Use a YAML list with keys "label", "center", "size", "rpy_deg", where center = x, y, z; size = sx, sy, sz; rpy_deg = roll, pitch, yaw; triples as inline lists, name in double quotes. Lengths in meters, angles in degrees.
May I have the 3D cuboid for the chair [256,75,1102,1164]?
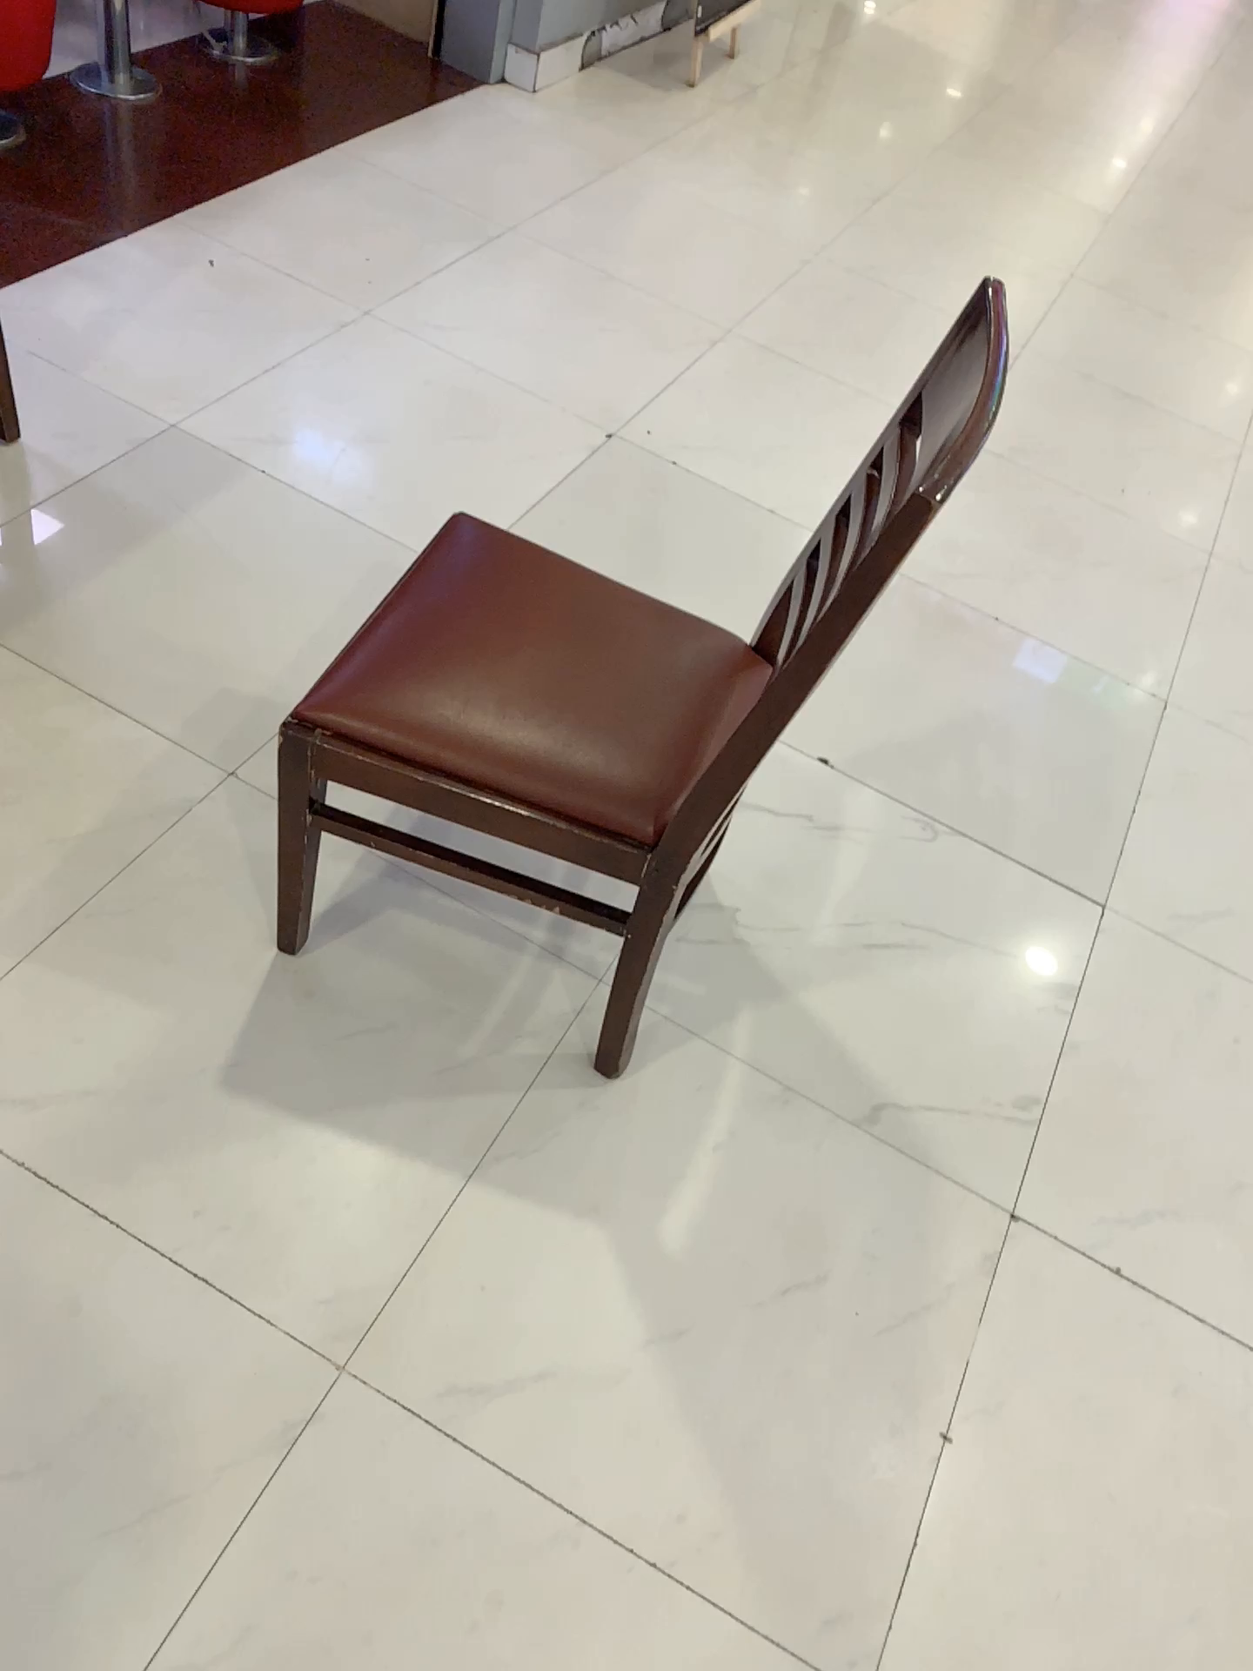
- label: "chair"
  center: [0.017, -0.193, 1.306]
  size: [0.540, 0.784, 0.564]
  rpy_deg: [23, 46, 5]
